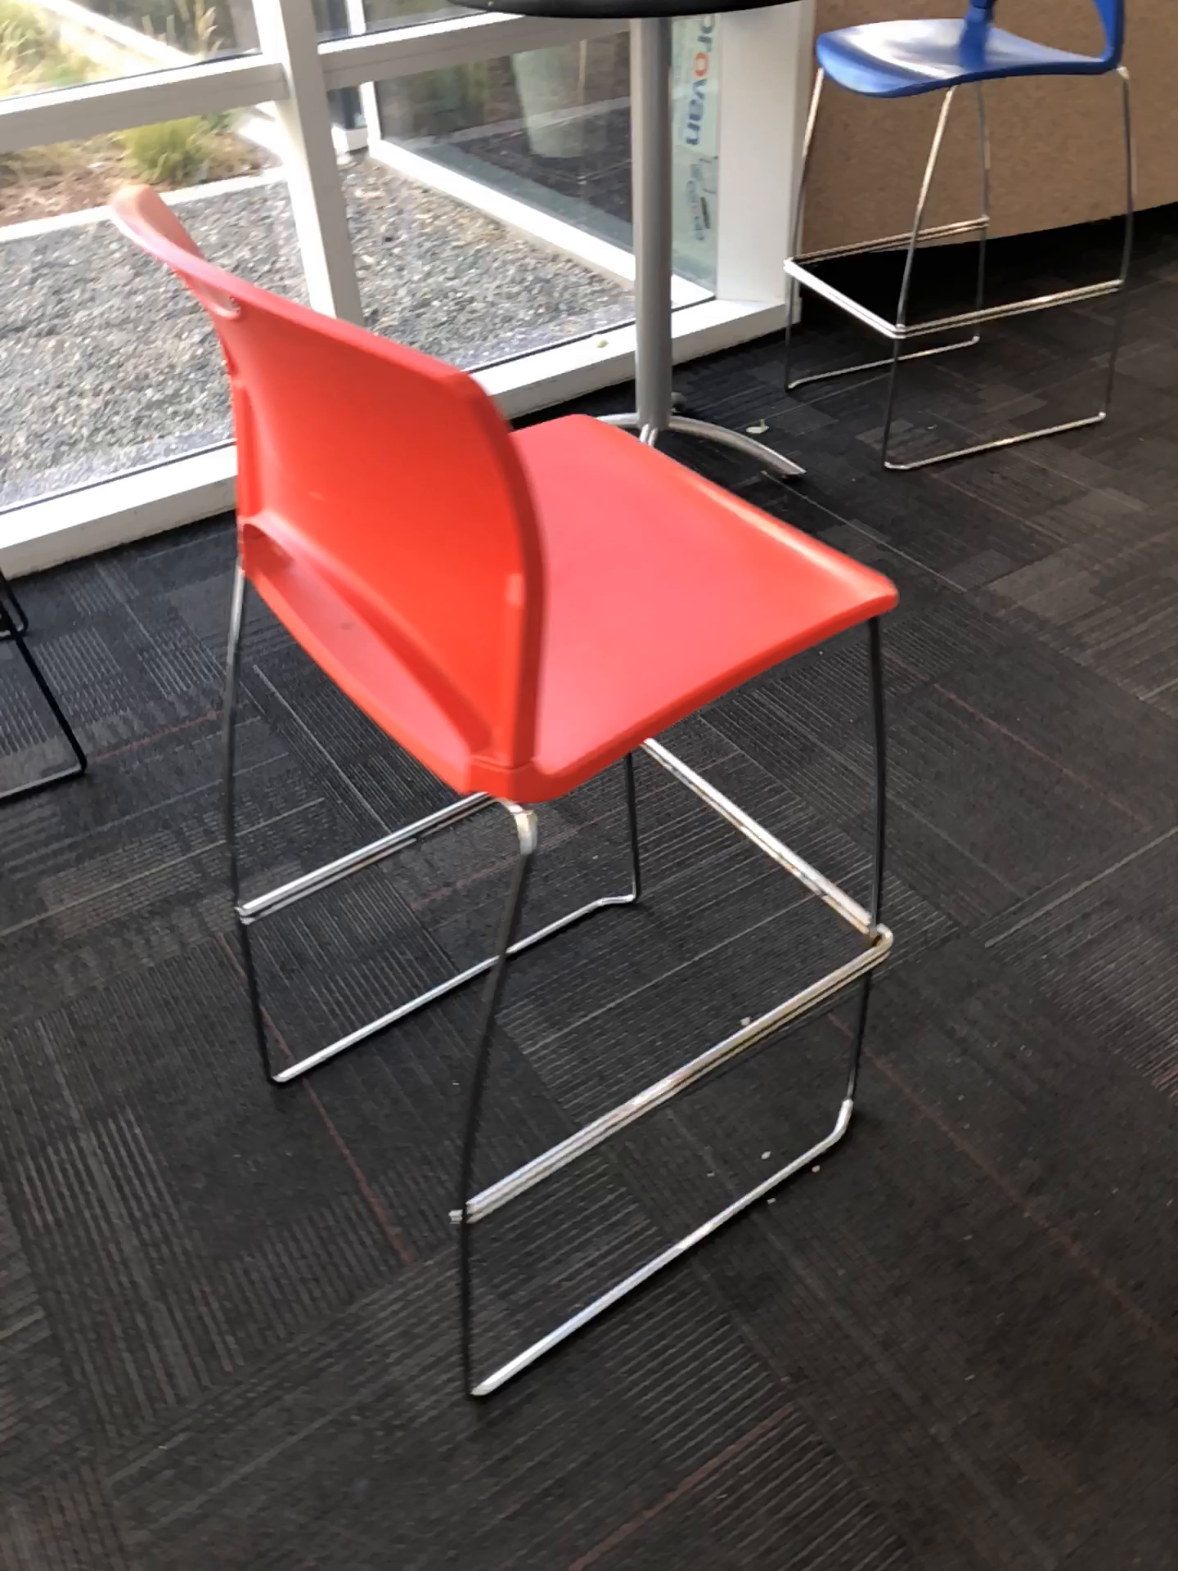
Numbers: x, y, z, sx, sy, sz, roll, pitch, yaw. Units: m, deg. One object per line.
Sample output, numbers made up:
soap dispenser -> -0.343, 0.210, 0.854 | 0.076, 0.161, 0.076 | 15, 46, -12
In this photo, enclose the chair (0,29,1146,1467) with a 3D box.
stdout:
chair -> -0.054, -0.043, 1.201 | 0.661, 0.995, 0.592 | -28, 45, -26
